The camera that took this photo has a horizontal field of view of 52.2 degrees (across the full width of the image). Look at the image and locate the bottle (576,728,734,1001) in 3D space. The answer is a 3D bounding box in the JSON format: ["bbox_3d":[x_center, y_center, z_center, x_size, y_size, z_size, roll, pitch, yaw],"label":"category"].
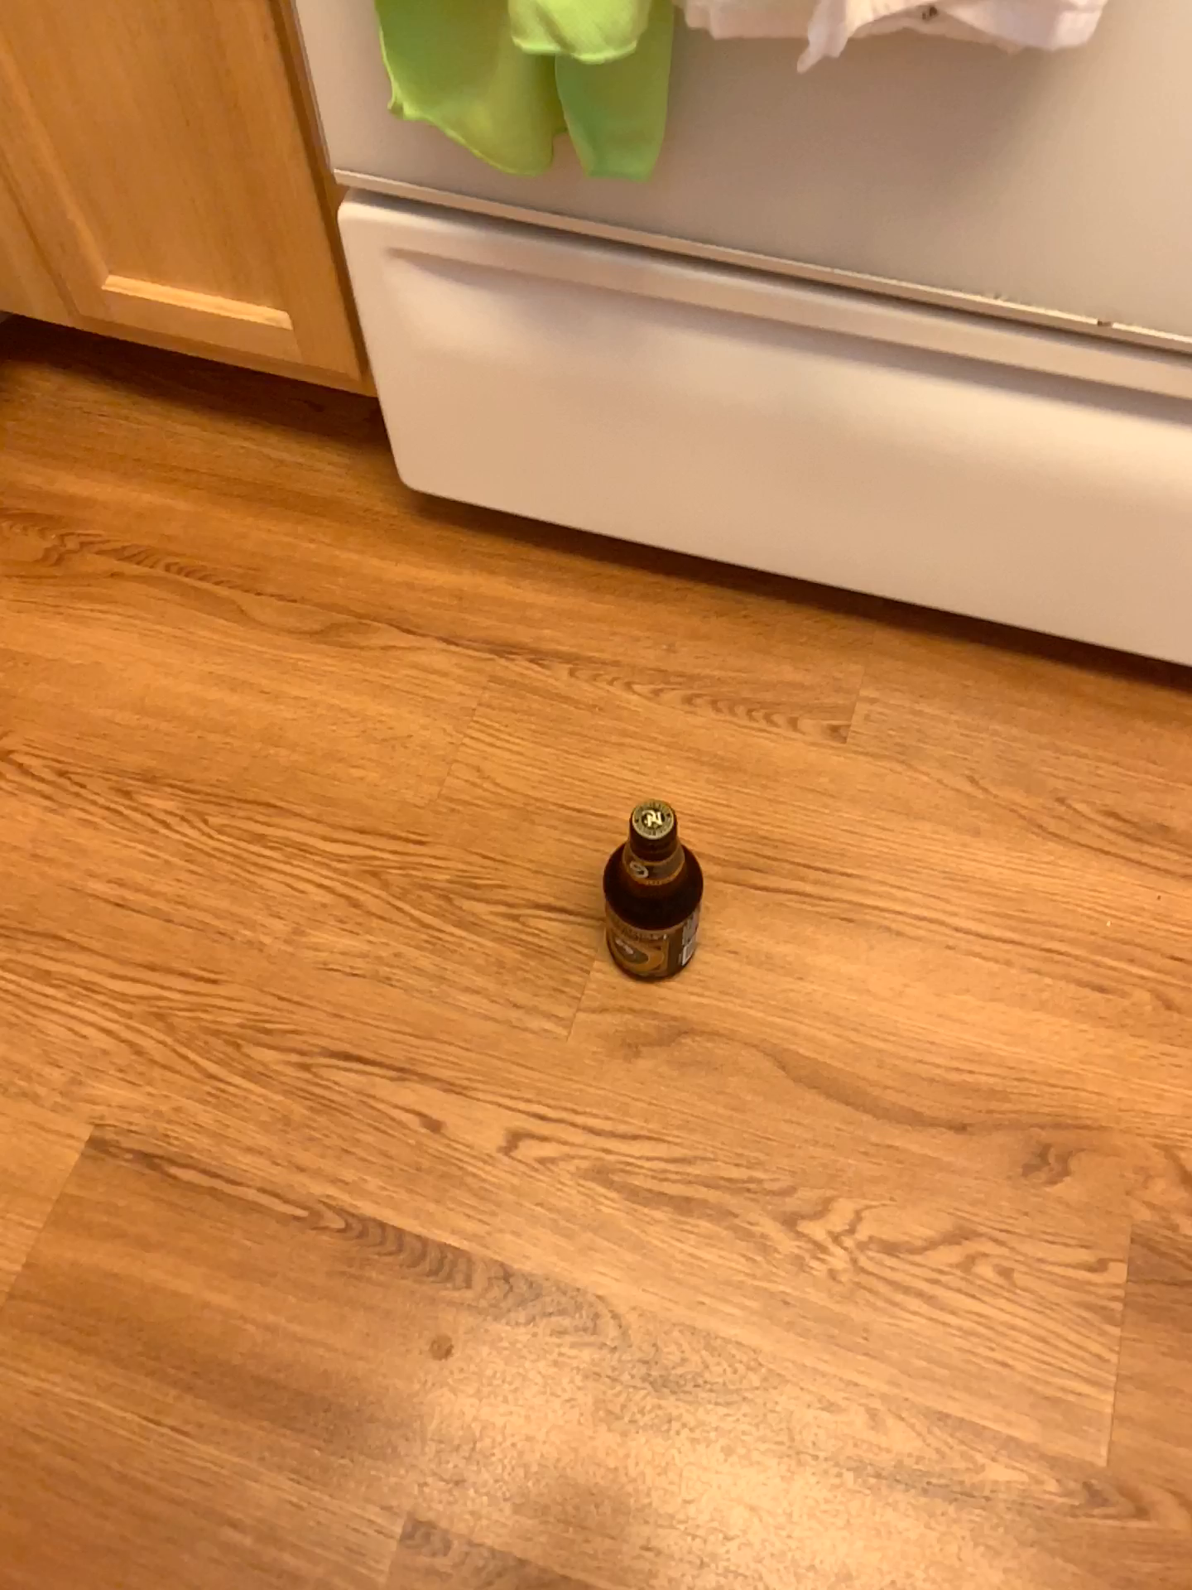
[{"bbox_3d":[0.034,0.050,0.736,0.060,0.209,0.060,-1,62,1],"label":"bottle"}]
